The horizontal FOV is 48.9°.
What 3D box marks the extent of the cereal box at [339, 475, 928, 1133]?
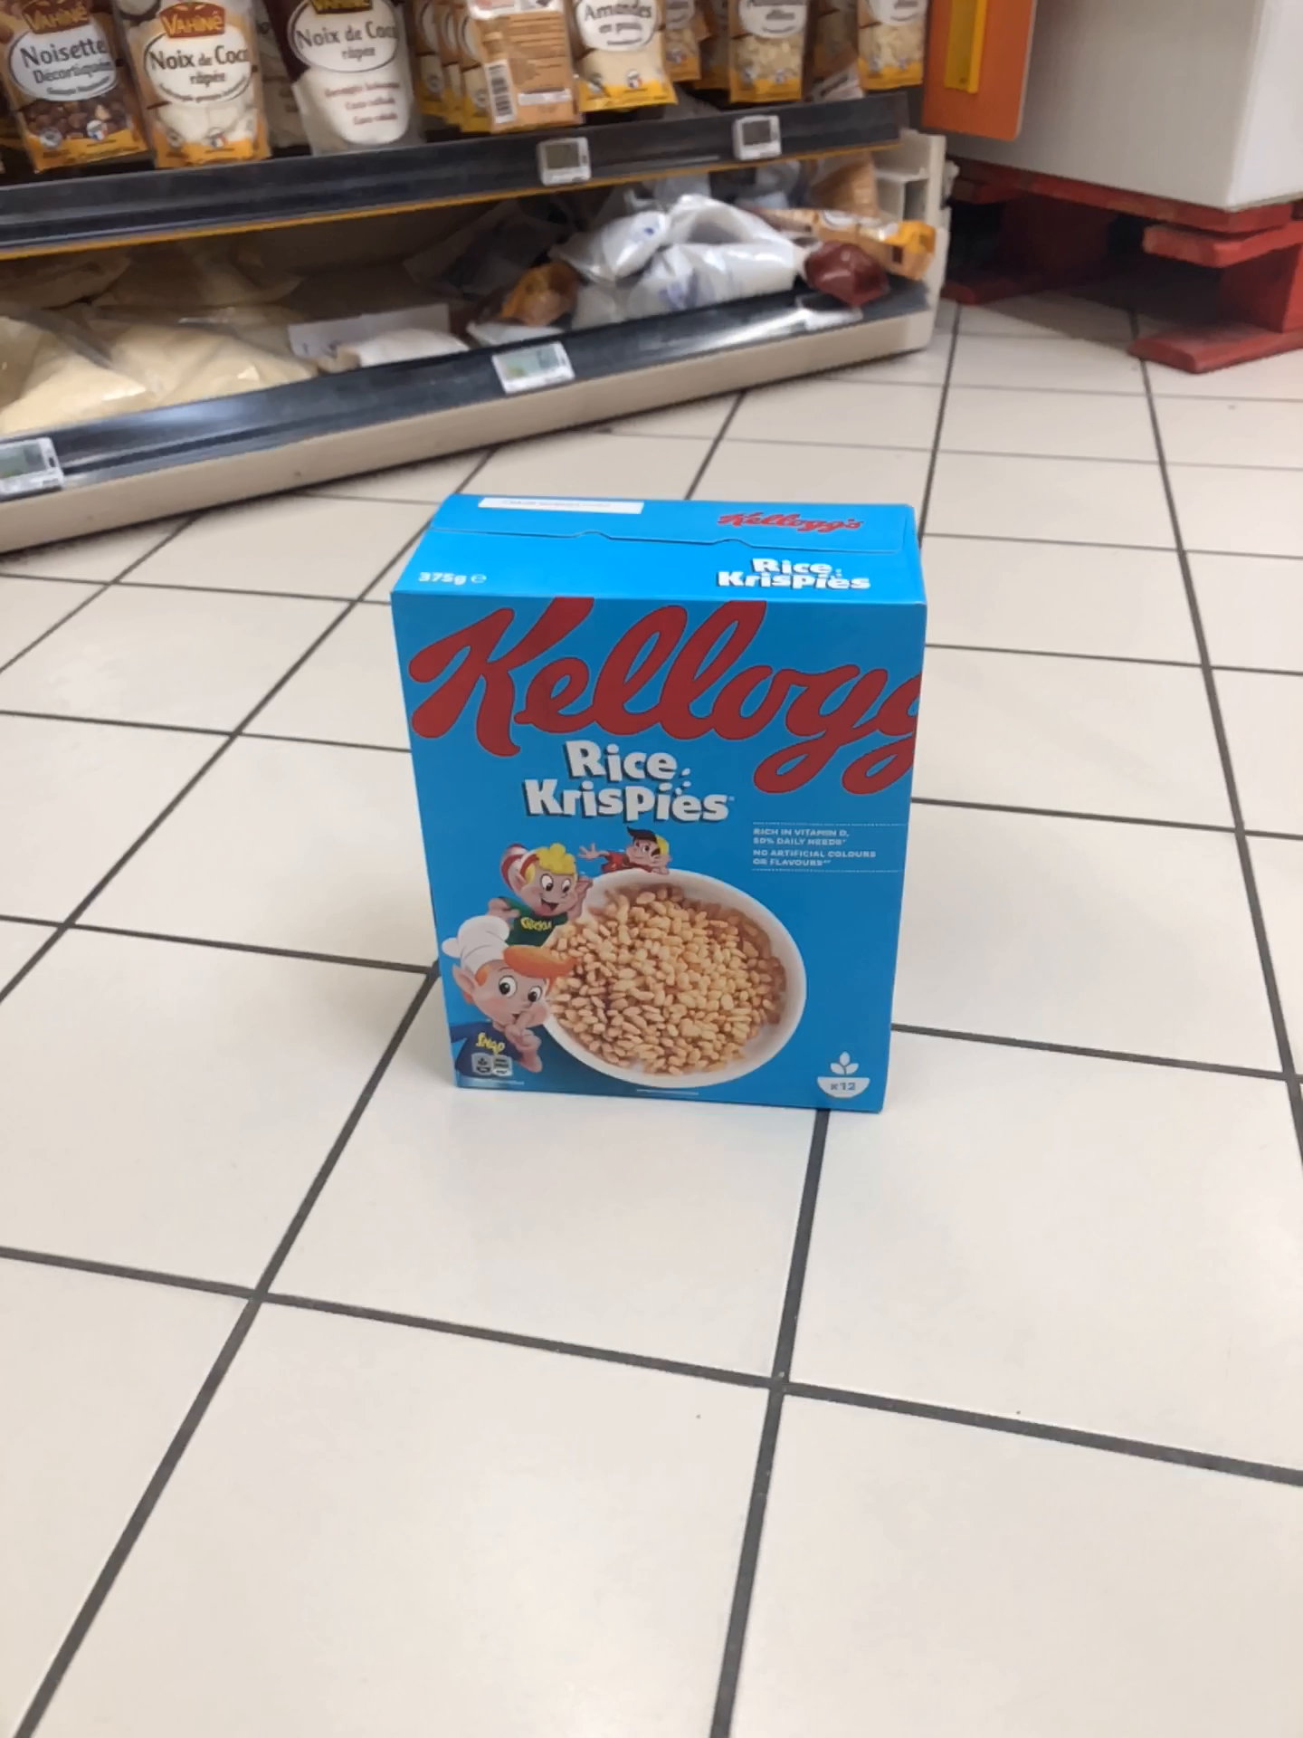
[{"bbox_3d":[0.001,-0.024,0.594,0.200,0.239,0.111,3,35,7],"label":"cereal box"}]
